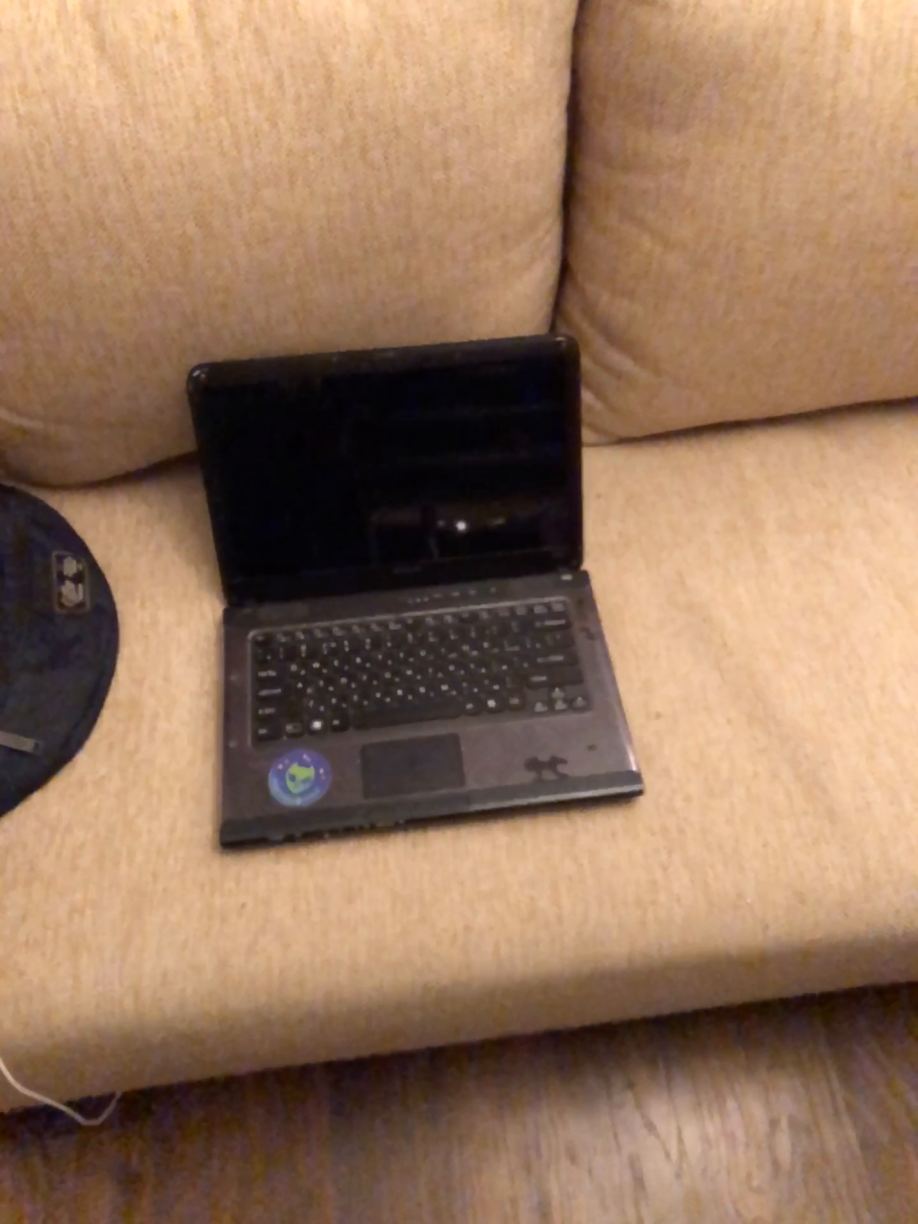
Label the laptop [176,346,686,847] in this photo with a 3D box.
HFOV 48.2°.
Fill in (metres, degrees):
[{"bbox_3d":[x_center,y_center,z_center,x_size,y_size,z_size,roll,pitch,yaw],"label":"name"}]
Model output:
[{"bbox_3d":[-0.040,-0.023,0.848,0.338,0.174,0.350,-6,55,-5],"label":"laptop"}]
